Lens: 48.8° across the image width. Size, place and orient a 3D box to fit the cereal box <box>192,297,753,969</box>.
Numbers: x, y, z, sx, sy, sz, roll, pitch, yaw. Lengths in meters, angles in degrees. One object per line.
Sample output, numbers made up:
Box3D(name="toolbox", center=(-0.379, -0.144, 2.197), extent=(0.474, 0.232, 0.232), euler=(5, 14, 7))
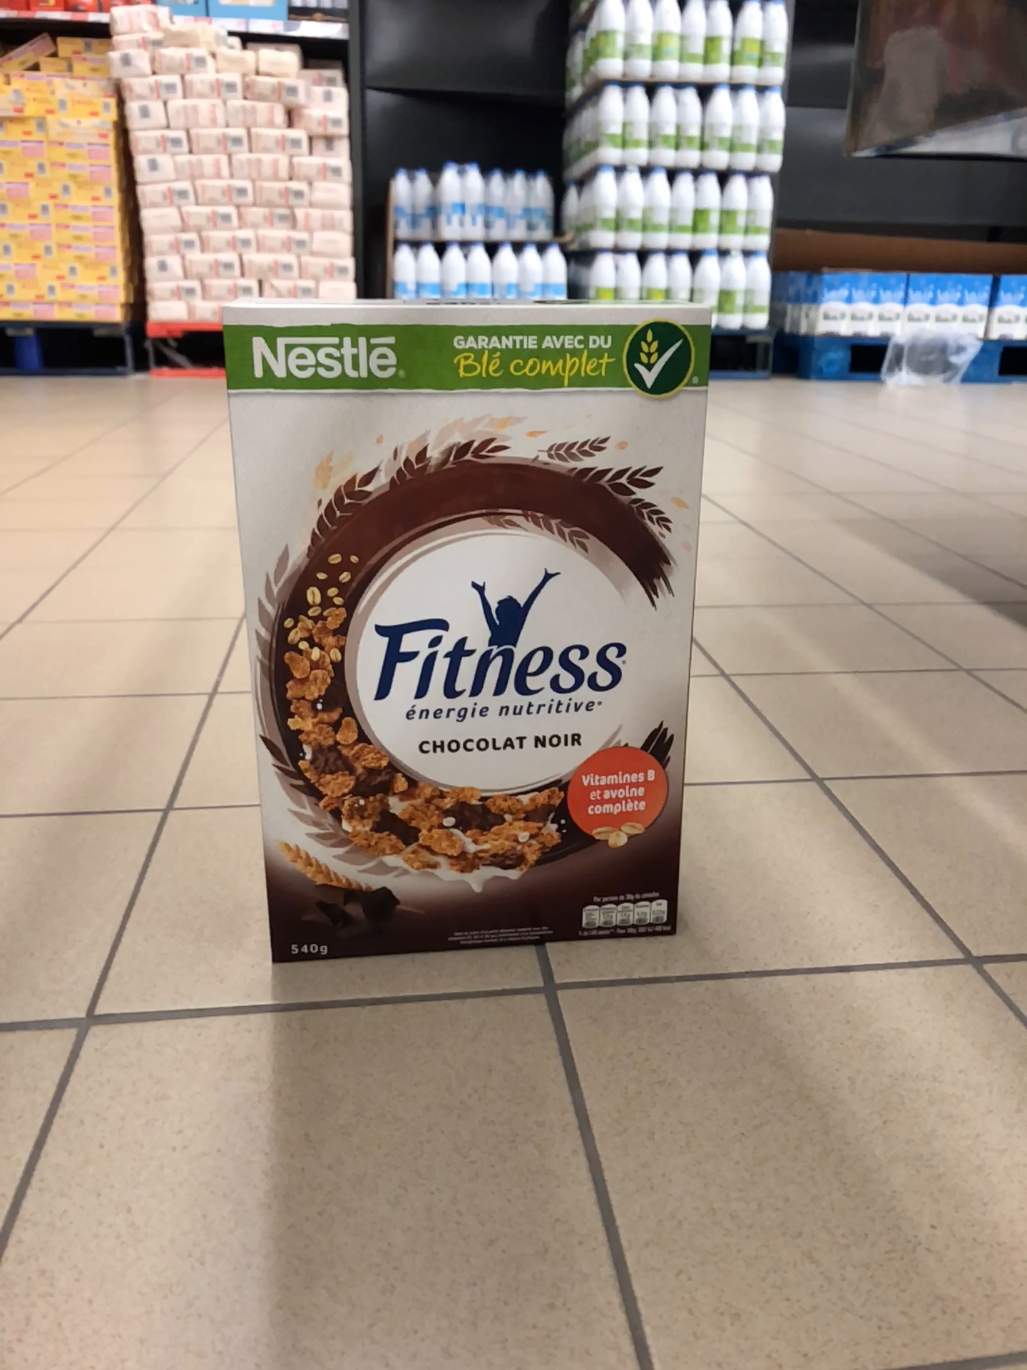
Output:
Box3D(name="cereal box", center=(-0.016, -0.025, 0.505), extent=(0.210, 0.279, 0.080), euler=(-3, 18, -6))
